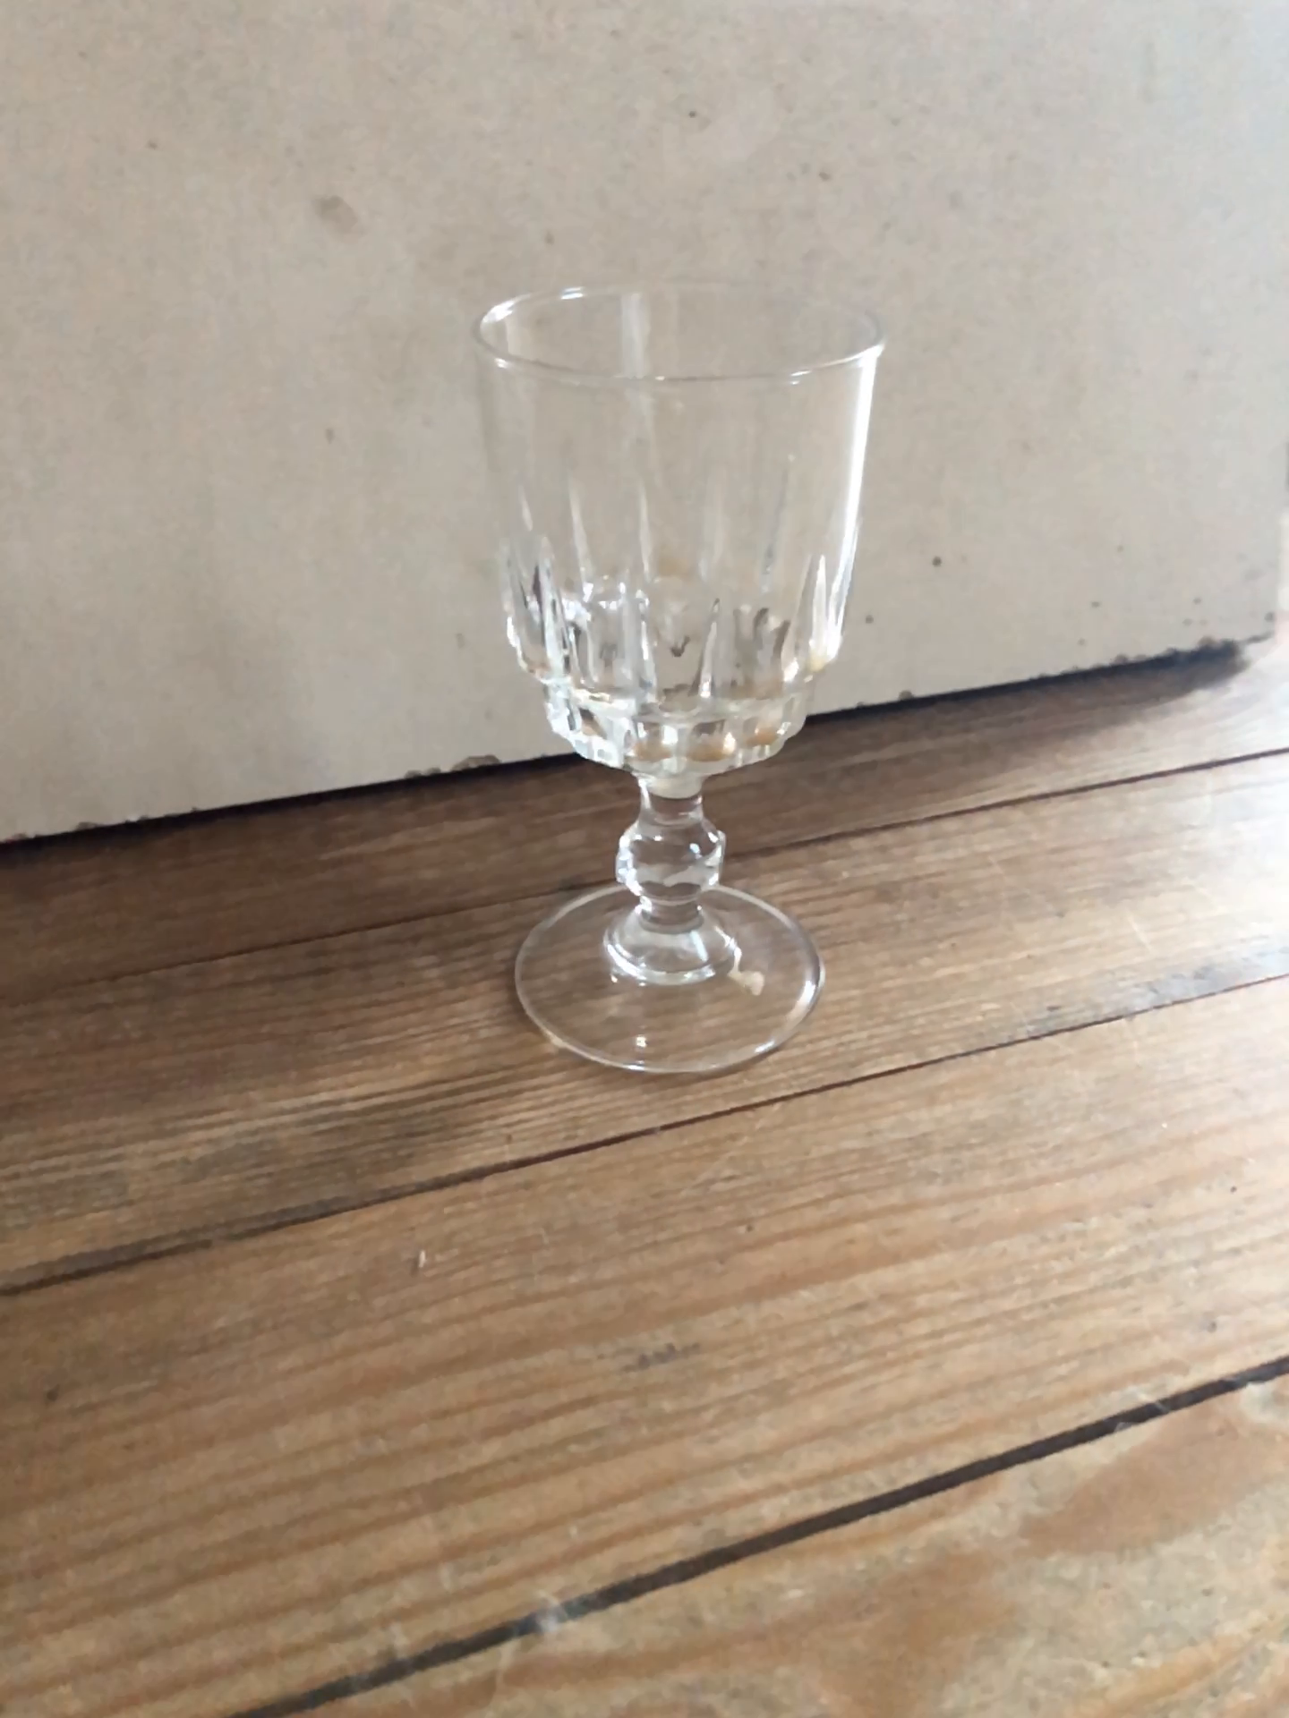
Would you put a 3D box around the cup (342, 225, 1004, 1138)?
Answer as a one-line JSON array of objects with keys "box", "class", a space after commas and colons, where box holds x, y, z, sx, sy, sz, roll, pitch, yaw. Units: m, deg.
[{"box": [-0.001, -0.031, 0.233, 0.070, 0.119, 0.070, 1, 32, -1], "class": "cup"}]
